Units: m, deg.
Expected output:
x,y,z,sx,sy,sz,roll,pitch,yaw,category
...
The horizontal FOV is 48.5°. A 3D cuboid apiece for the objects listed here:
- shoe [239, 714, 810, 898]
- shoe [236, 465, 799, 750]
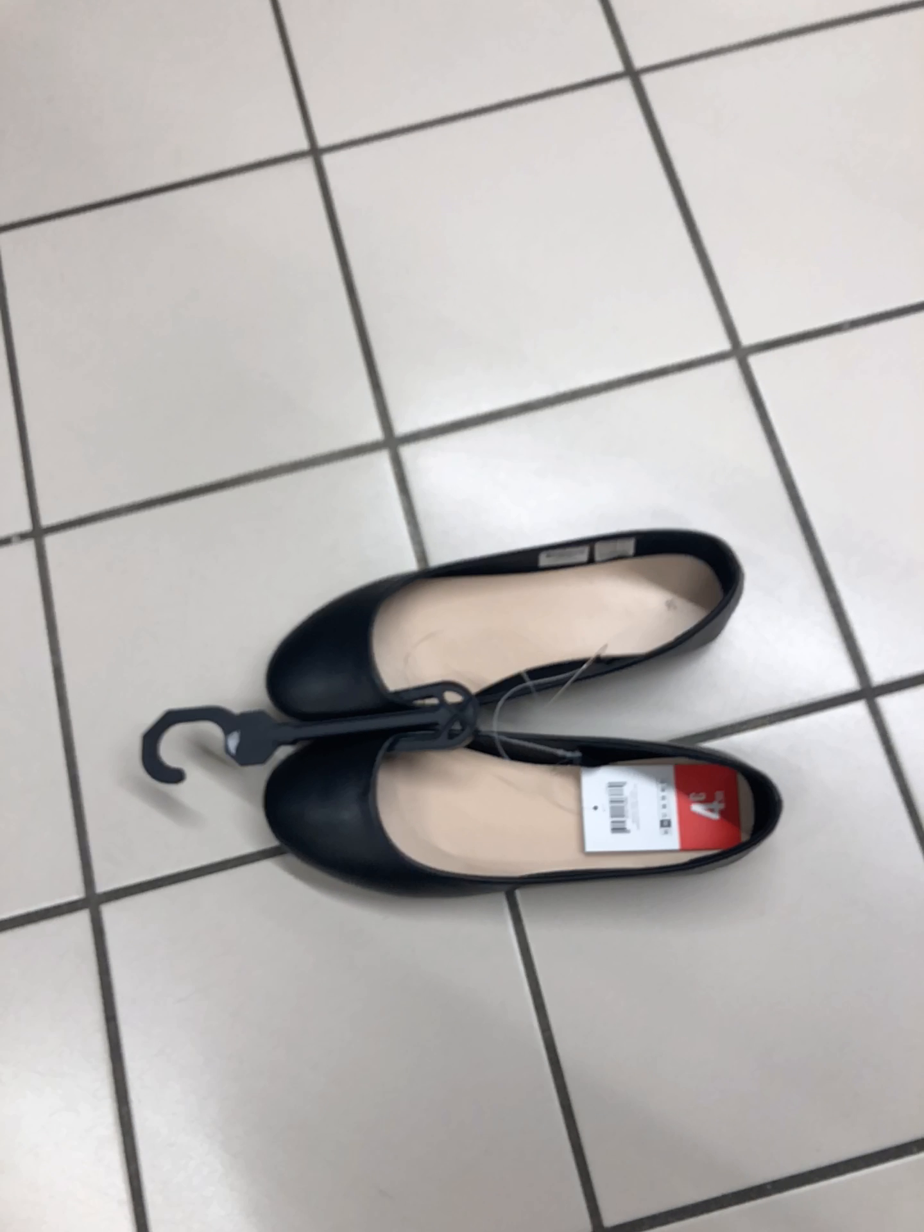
x,y,z,sx,sy,sz,roll,pitch,yaw,category
0.028,0.092,0.489,0.250,0.060,0.080,-1,74,3,shoe
0.025,-0.002,0.505,0.250,0.060,0.080,-11,74,0,shoe
